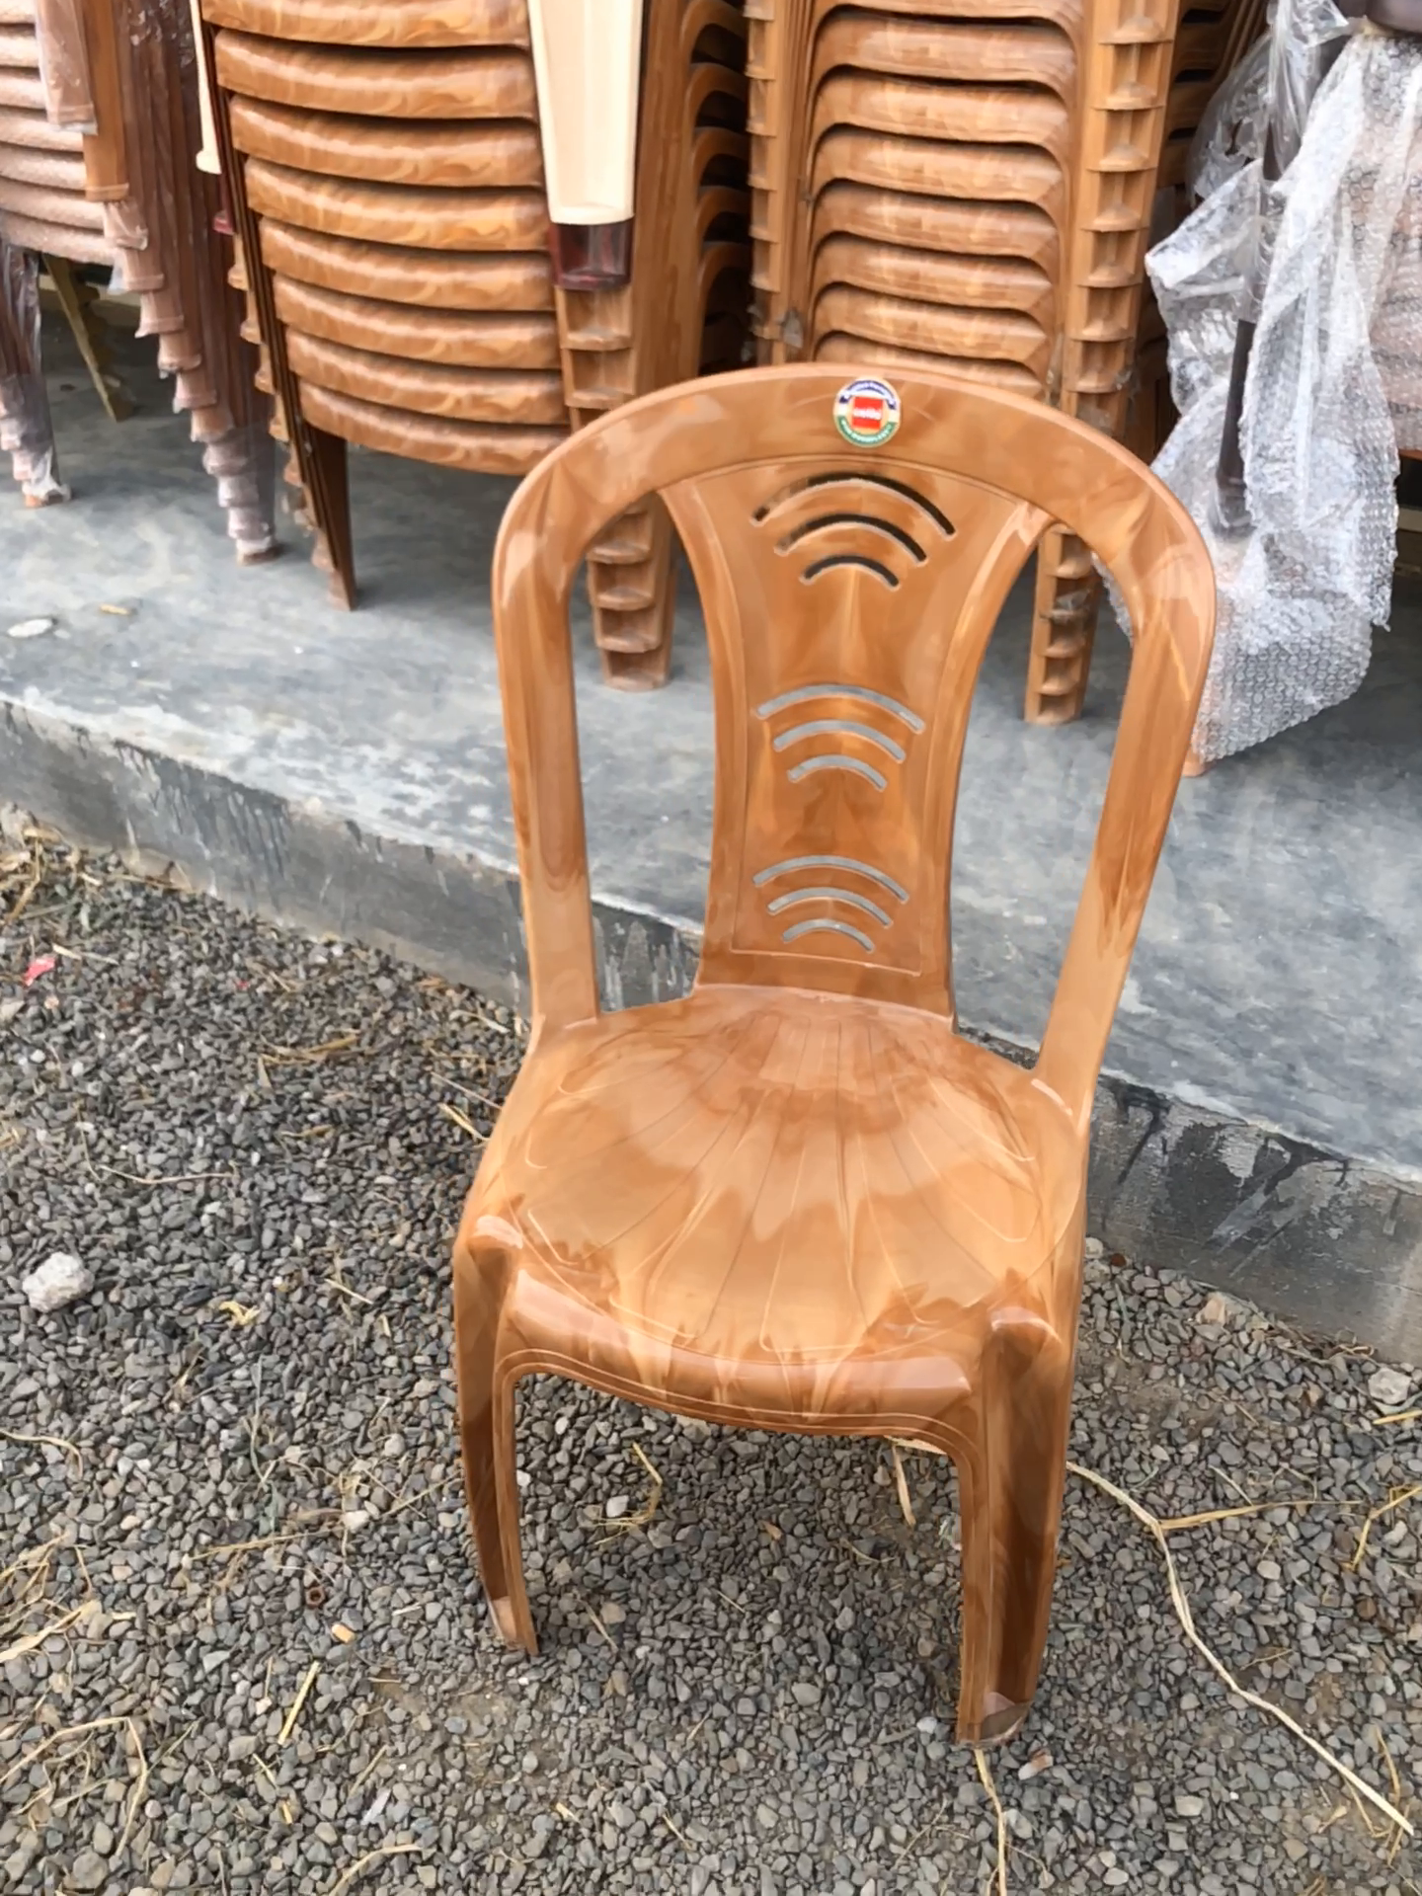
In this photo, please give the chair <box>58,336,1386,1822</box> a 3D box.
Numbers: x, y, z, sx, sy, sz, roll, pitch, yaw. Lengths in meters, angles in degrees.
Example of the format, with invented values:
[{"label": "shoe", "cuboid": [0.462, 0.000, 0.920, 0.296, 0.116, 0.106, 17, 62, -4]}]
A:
[{"label": "chair", "cuboid": [0.051, 0.070, 1.080, 0.540, 0.766, 0.583, 7, 38, 10]}]
